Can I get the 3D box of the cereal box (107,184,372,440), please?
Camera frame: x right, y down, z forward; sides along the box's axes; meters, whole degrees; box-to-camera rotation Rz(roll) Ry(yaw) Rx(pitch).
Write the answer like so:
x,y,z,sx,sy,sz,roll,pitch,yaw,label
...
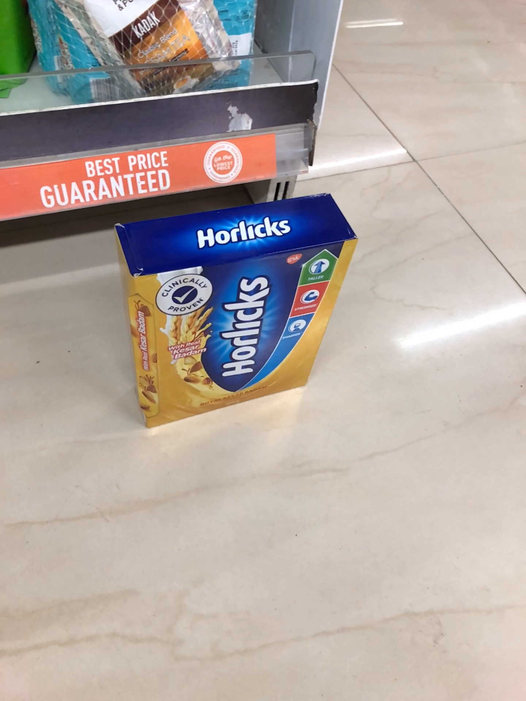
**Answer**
x,y,z,sx,sy,sz,roll,pitch,yaw,label
-0.022,-0.020,0.417,0.150,0.179,0.050,-14,57,-18,cereal box
